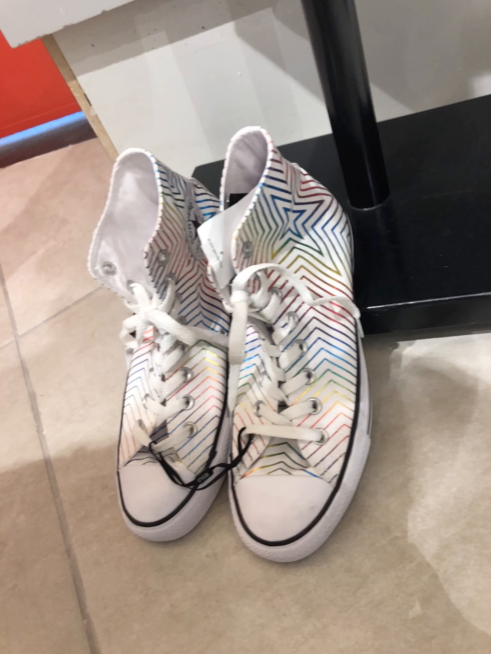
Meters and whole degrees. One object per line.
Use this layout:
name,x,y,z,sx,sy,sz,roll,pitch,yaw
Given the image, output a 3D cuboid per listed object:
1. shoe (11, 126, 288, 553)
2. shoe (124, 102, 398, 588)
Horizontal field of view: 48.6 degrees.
shoe,-0.054,0.013,0.443,0.120,0.139,0.301,-5,64,23
shoe,0.038,0.007,0.393,0.120,0.139,0.301,-4,58,23
